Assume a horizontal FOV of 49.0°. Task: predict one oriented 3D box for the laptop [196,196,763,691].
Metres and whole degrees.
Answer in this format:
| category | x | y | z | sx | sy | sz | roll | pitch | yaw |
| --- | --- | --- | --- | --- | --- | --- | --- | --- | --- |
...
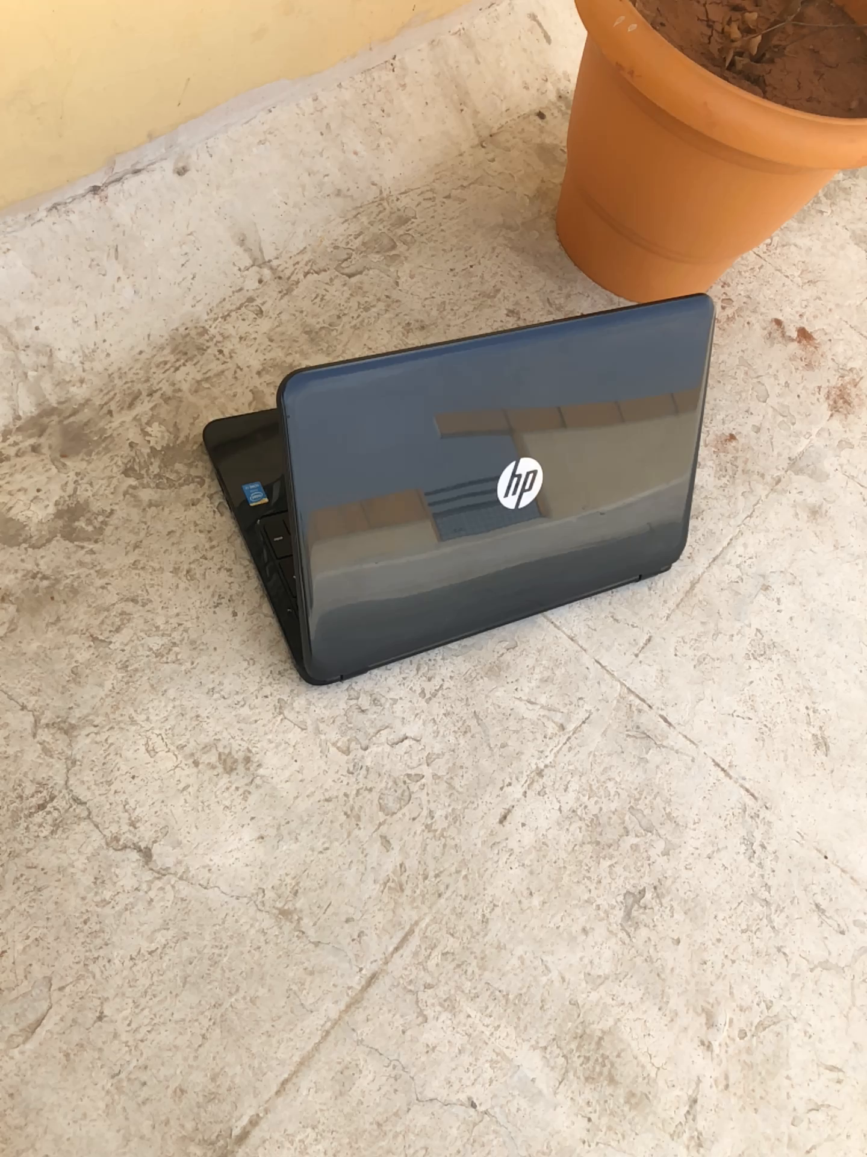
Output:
| category | x | y | z | sx | sy | sz | roll | pitch | yaw |
| --- | --- | --- | --- | --- | --- | --- | --- | --- | --- |
| laptop | 0.024 | -0.109 | 0.723 | 0.345 | 0.189 | 0.222 | -17 | 70 | -25 |
